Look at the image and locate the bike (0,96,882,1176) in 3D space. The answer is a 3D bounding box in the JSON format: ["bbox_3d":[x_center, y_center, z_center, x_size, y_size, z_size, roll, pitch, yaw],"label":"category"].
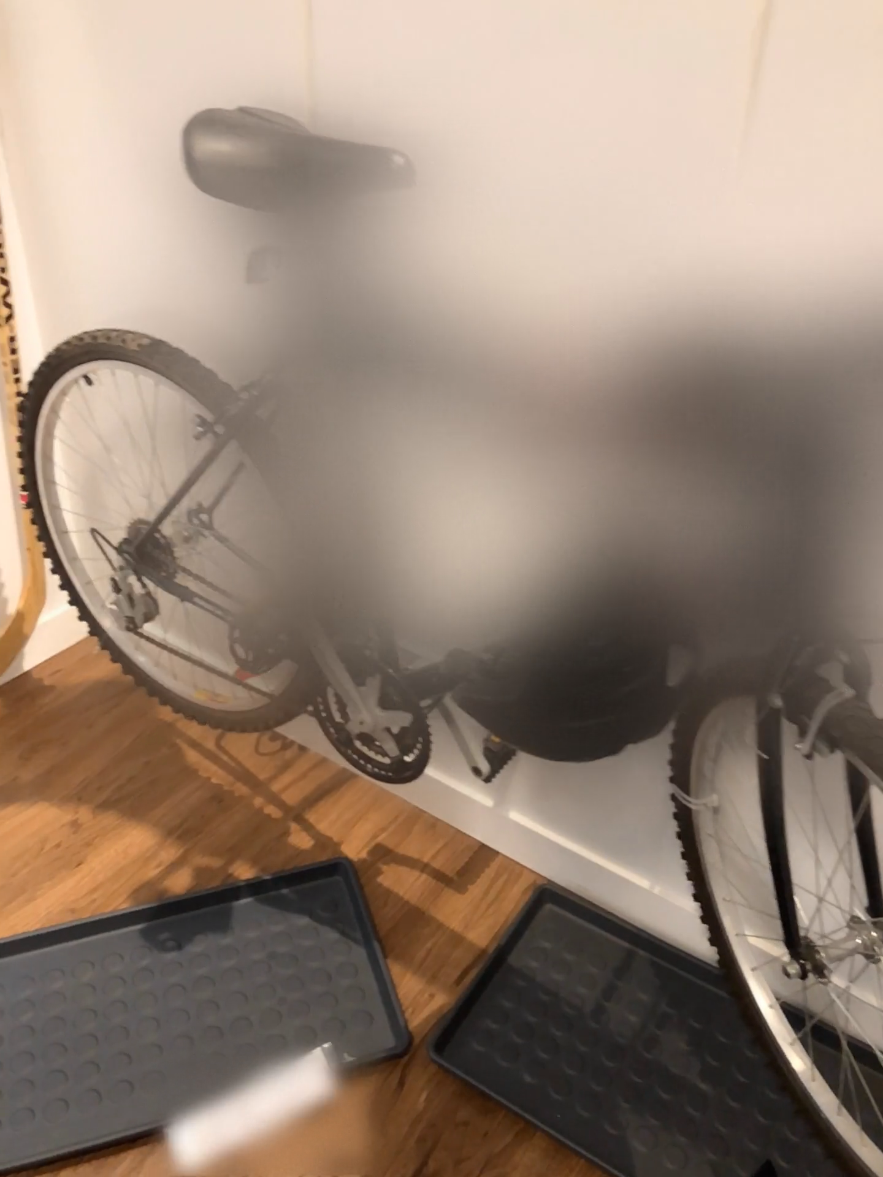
[{"bbox_3d":[-0.035,0.080,1.161,1.571,0.845,0.559,32,42,30],"label":"bike"}]
